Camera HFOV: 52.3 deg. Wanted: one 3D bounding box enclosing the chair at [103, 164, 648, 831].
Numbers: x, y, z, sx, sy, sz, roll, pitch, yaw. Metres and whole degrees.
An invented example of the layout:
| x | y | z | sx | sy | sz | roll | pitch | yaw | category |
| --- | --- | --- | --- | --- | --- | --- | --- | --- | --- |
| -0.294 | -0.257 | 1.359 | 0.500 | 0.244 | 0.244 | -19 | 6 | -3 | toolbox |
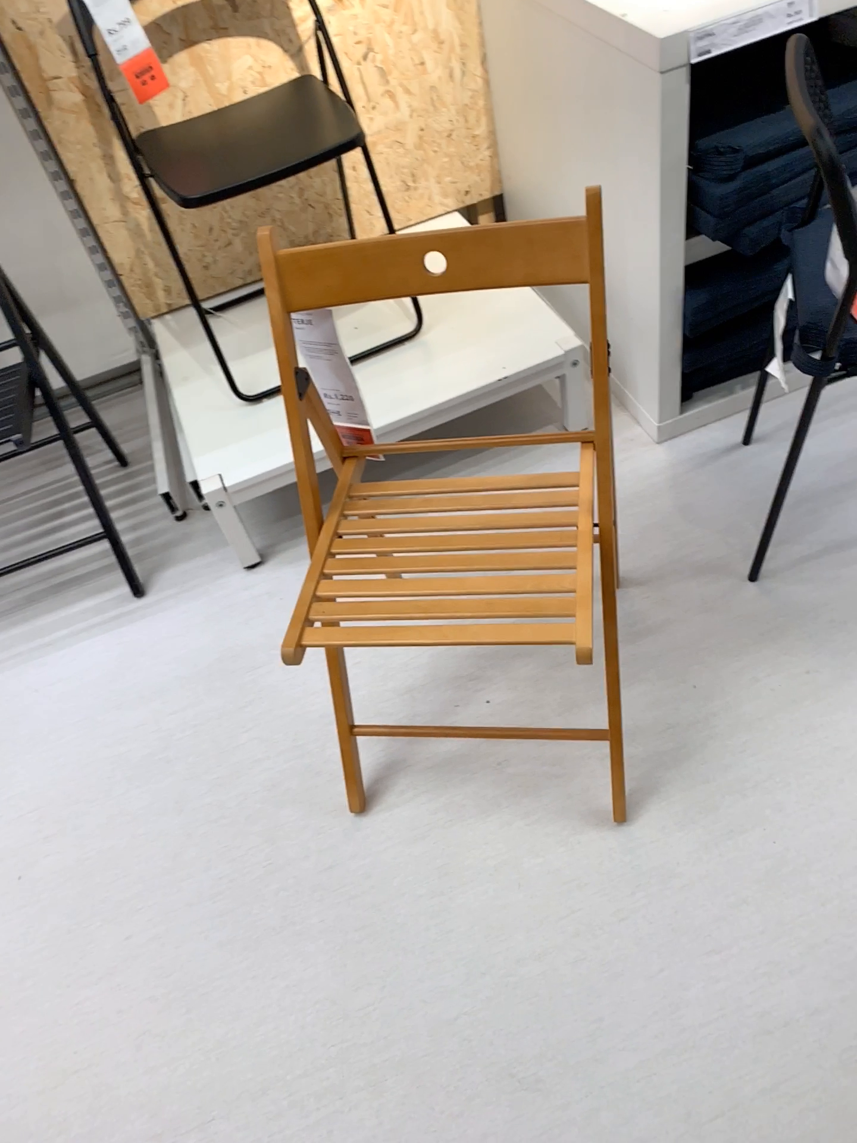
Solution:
| x | y | z | sx | sy | sz | roll | pitch | yaw | category |
| --- | --- | --- | --- | --- | --- | --- | --- | --- | --- |
| 0.030 | -0.062 | 1.226 | 0.510 | 0.697 | 0.562 | -2 | 48 | 13 | chair |
